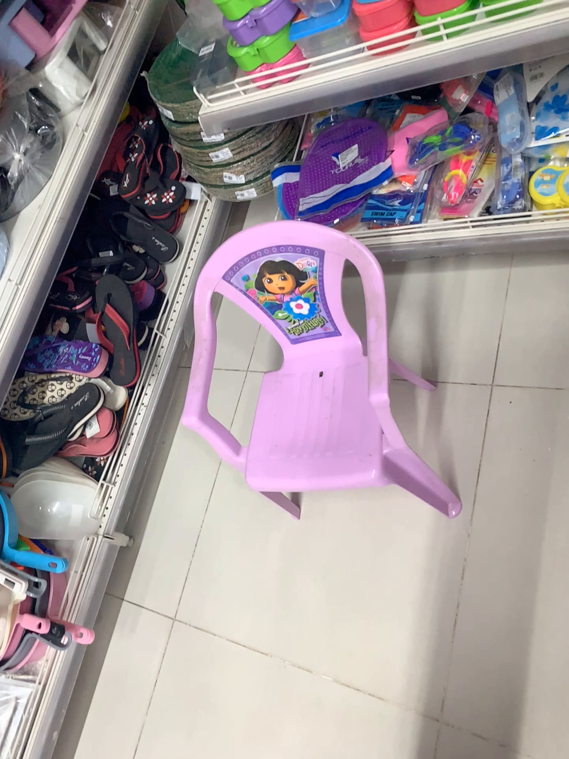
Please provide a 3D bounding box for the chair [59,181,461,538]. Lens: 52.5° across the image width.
[{"bbox_3d":[0.004,0.030,0.877,0.401,0.428,0.340,-9,63,29],"label":"chair"}]
